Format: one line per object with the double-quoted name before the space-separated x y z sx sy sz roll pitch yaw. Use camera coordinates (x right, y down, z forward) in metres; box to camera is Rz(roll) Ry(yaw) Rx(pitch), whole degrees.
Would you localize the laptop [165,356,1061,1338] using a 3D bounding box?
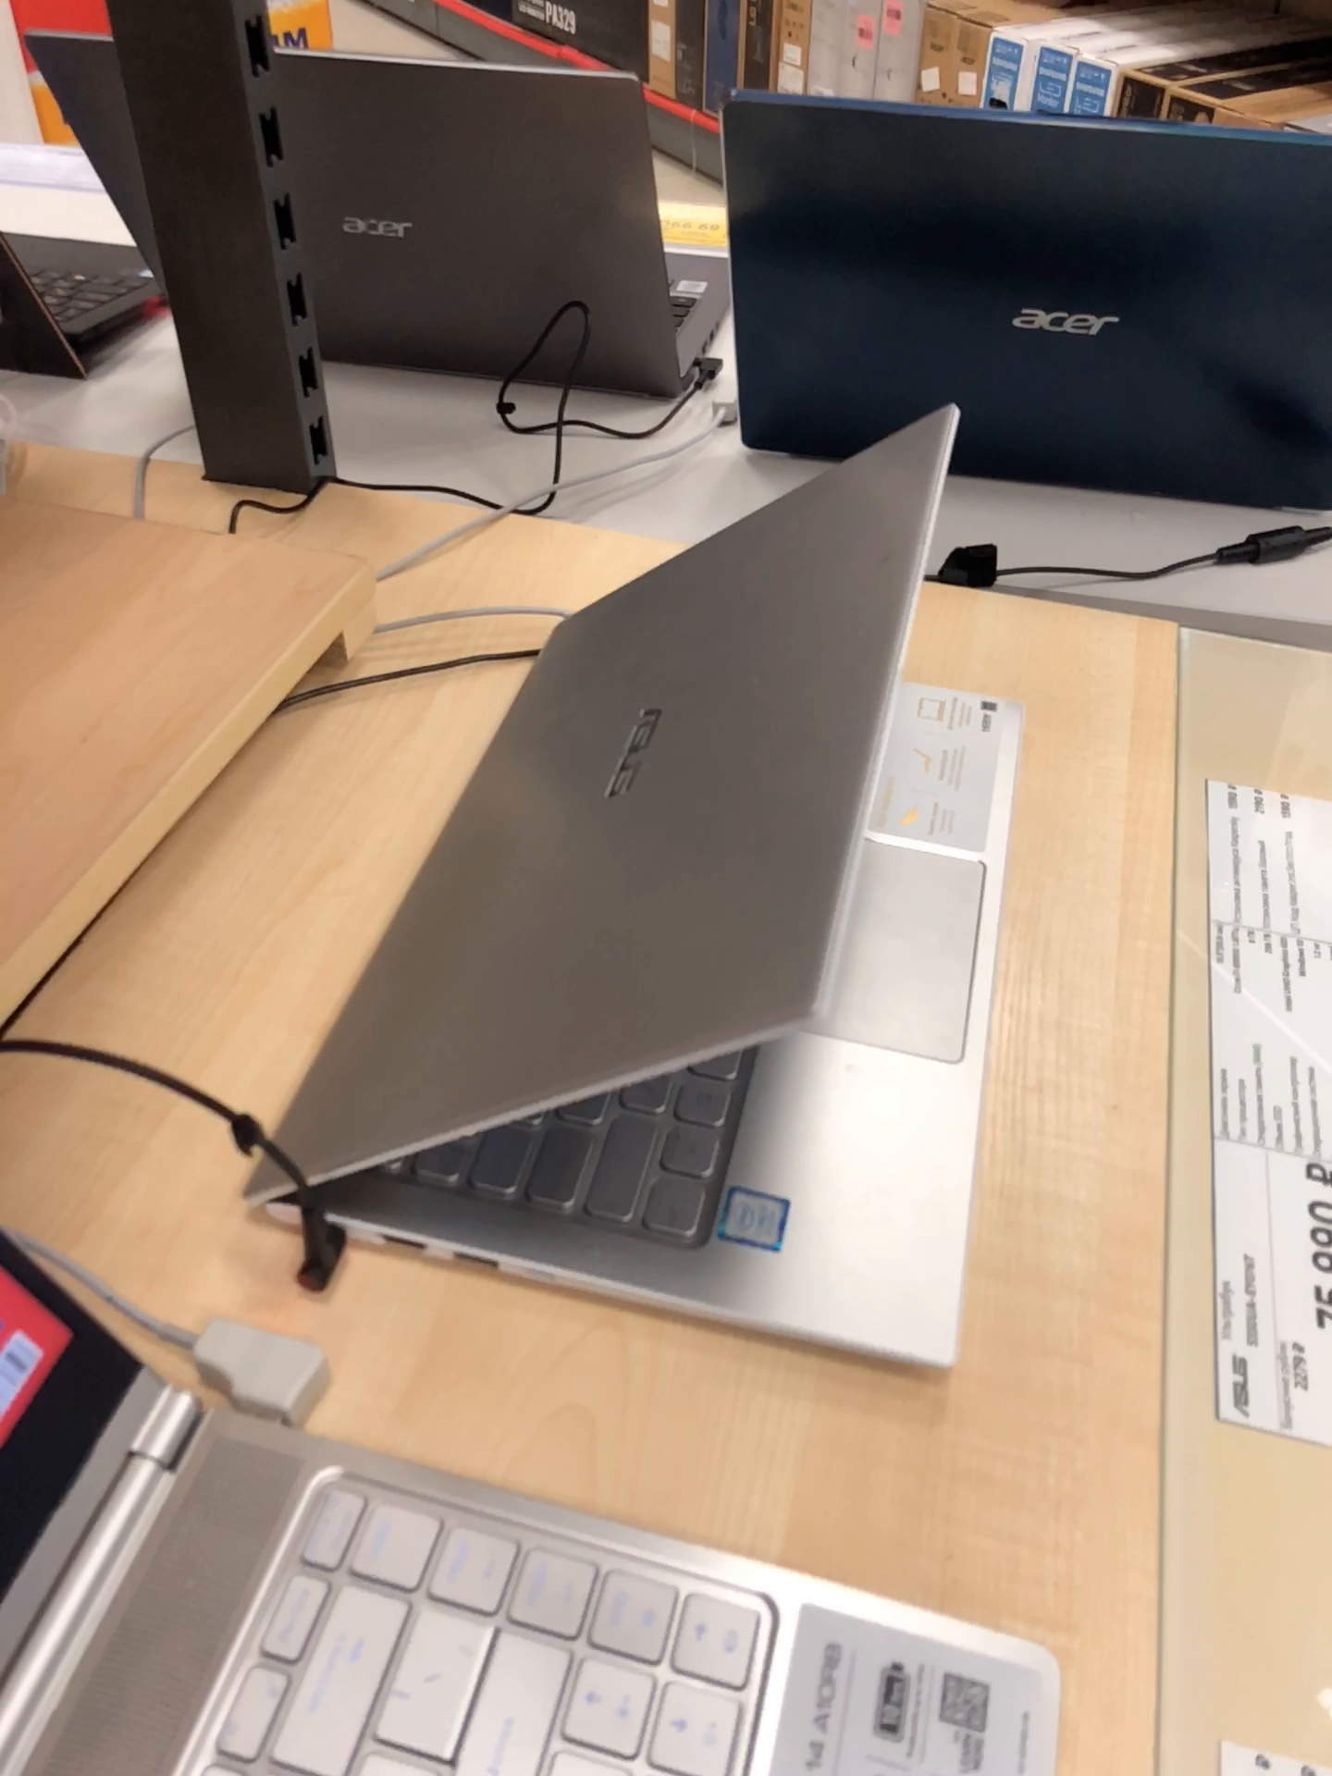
"laptop" 0.013 -0.043 0.479 0.196 0.119 0.310 10 43 9
